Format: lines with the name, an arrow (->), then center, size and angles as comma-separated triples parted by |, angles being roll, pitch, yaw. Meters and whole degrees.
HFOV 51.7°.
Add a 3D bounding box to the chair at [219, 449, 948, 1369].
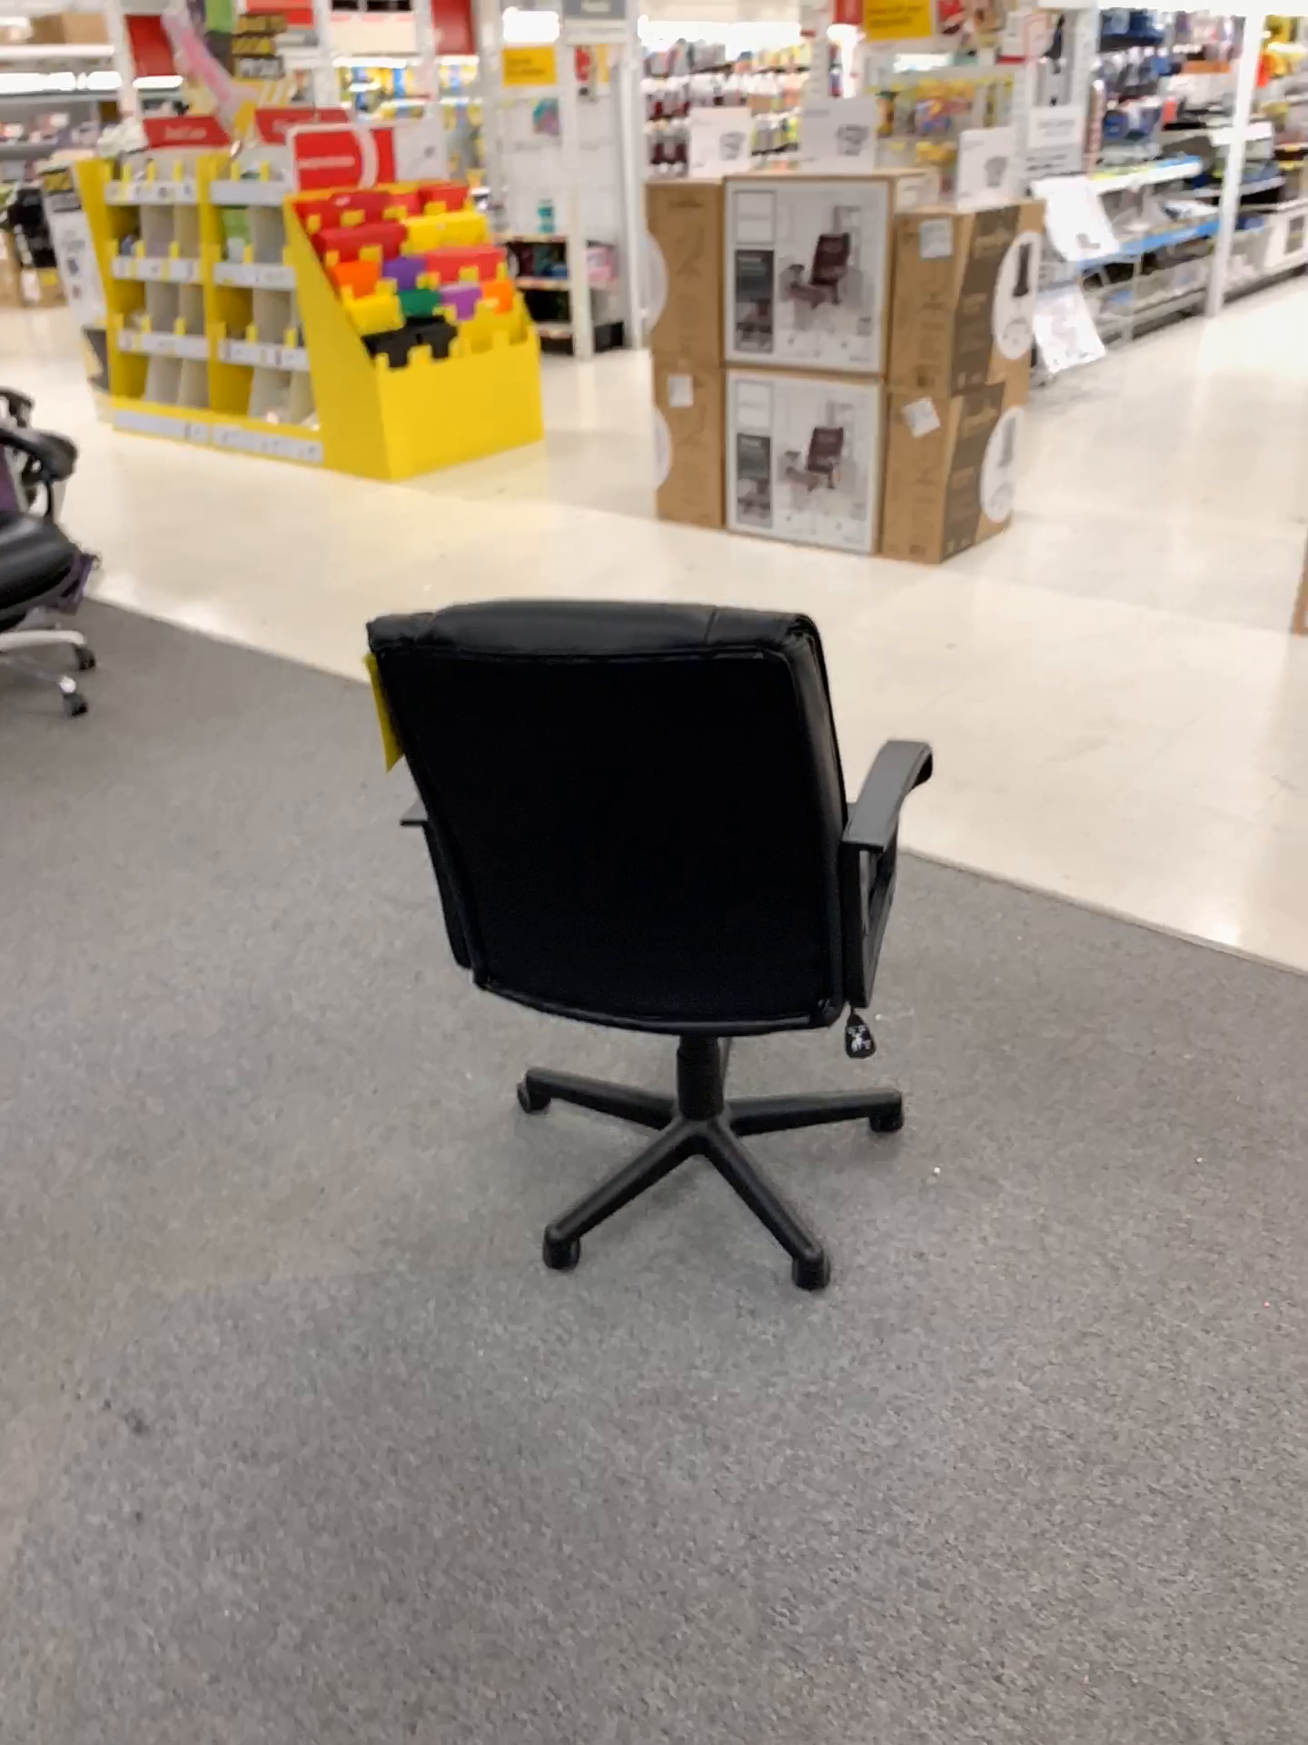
chair -> 0.011, 0.003, 1.853 | 0.681, 0.965, 0.703 | 4, 30, 18
